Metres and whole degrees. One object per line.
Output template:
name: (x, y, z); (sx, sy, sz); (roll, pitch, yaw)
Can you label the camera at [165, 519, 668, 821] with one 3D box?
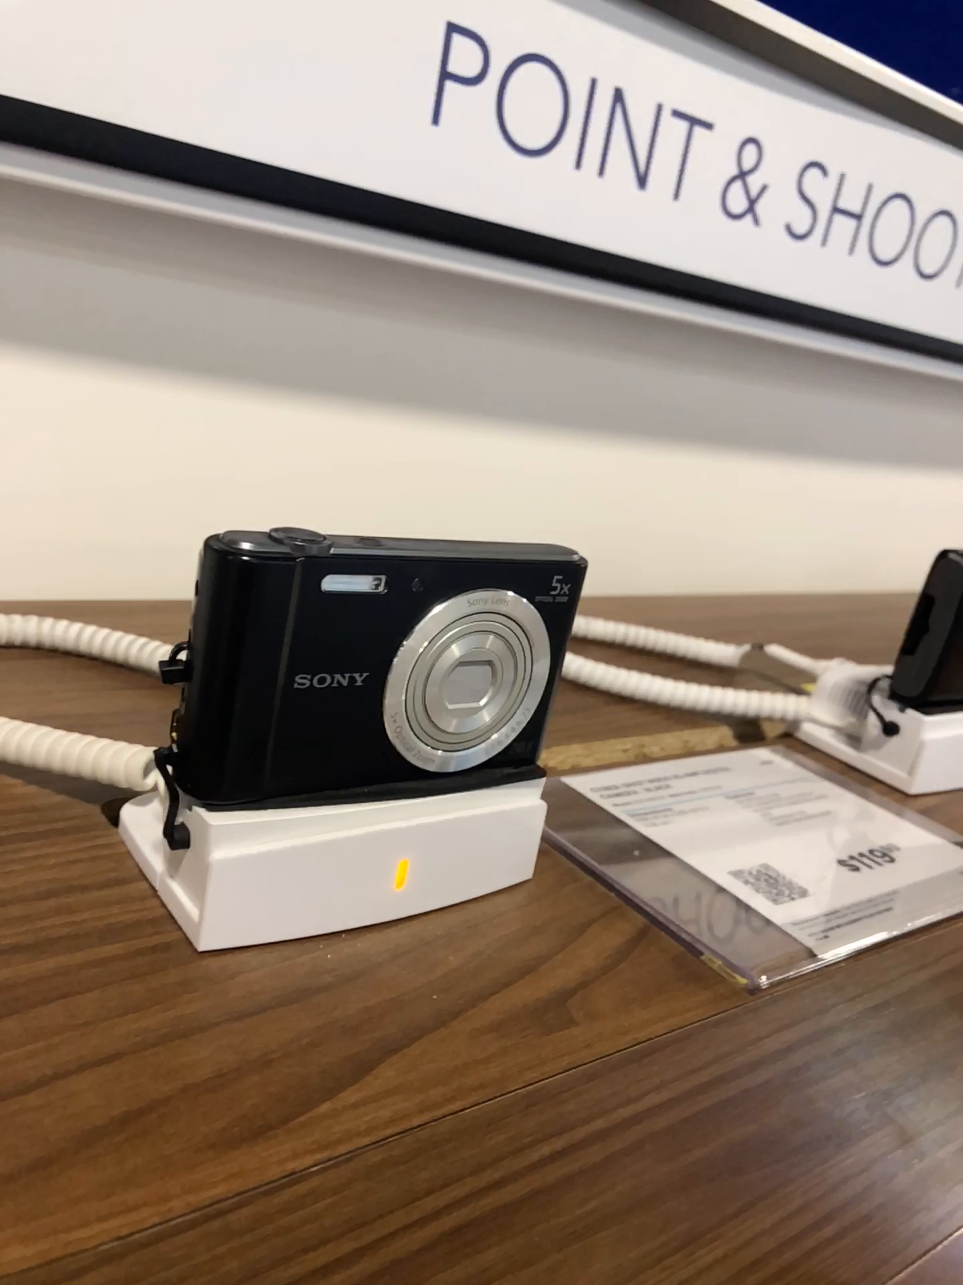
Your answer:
camera: (-0.012, 0.004, 0.231); (0.100, 0.050, 0.030); (-1, 18, -34)
